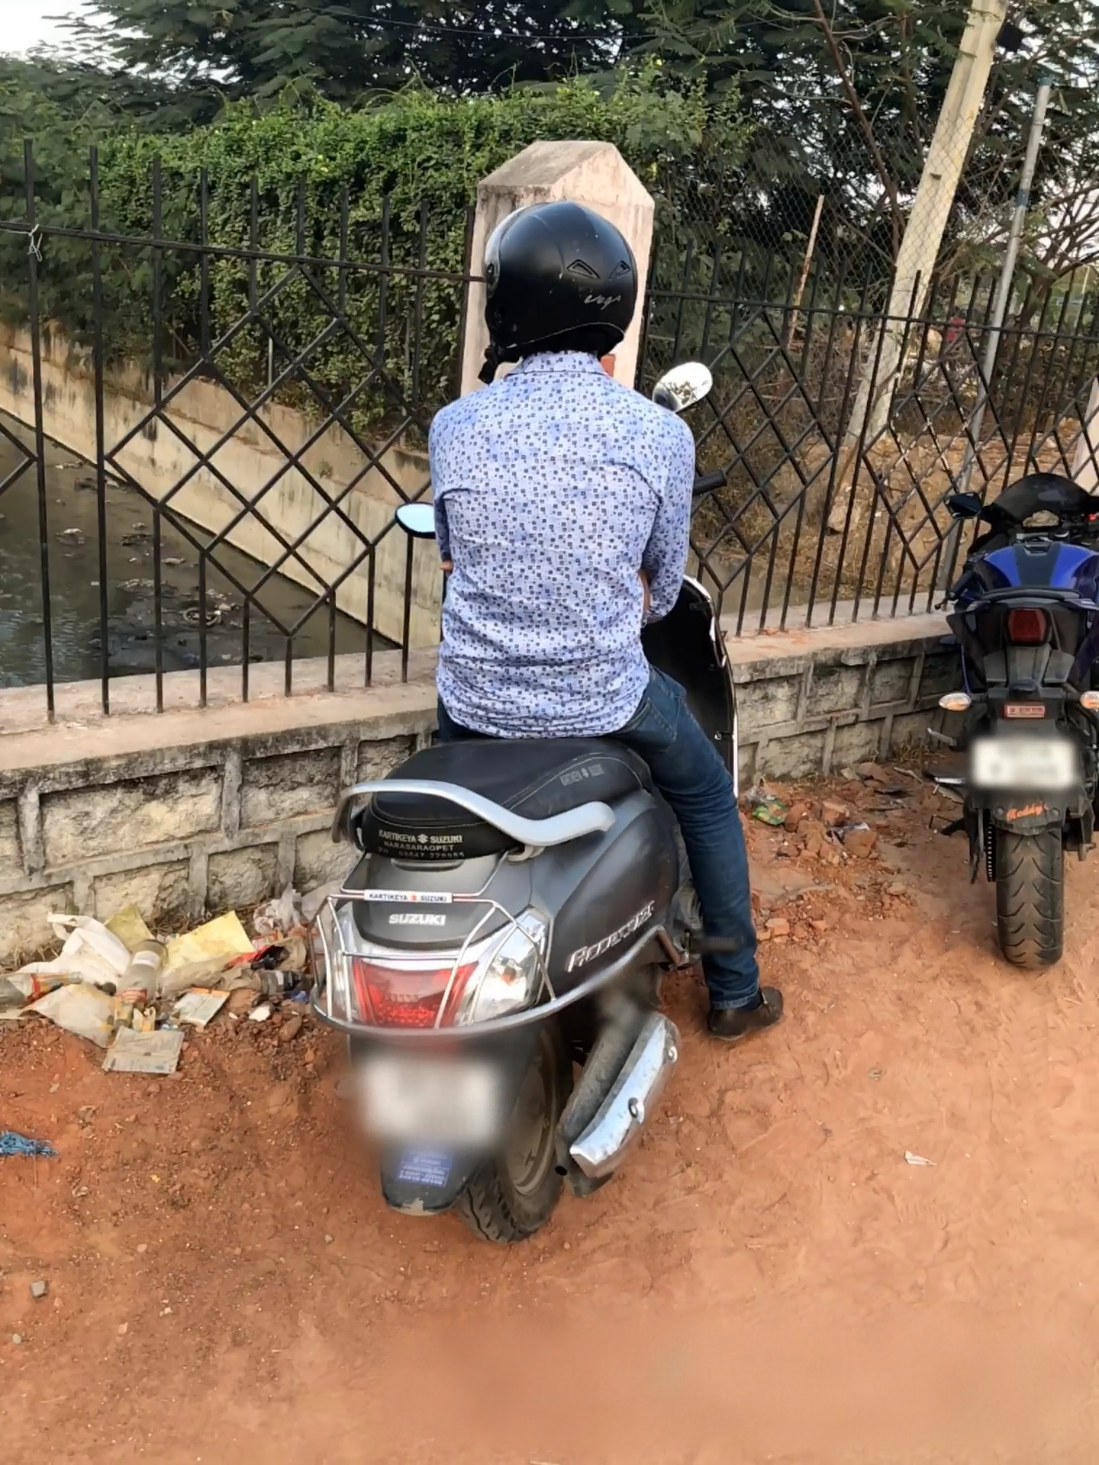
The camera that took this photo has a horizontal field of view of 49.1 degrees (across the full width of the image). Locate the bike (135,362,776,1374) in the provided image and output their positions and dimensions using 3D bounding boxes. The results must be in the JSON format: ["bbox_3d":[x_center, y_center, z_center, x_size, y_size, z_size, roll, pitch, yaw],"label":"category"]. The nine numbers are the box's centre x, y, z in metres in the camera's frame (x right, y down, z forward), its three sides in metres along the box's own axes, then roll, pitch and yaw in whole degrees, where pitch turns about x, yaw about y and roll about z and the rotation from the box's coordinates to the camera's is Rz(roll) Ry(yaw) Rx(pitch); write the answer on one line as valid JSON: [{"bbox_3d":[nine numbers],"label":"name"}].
[{"bbox_3d":[-0.097,0.044,2.397,0.796,1.217,1.587,7,23,3],"label":"bike"}]
